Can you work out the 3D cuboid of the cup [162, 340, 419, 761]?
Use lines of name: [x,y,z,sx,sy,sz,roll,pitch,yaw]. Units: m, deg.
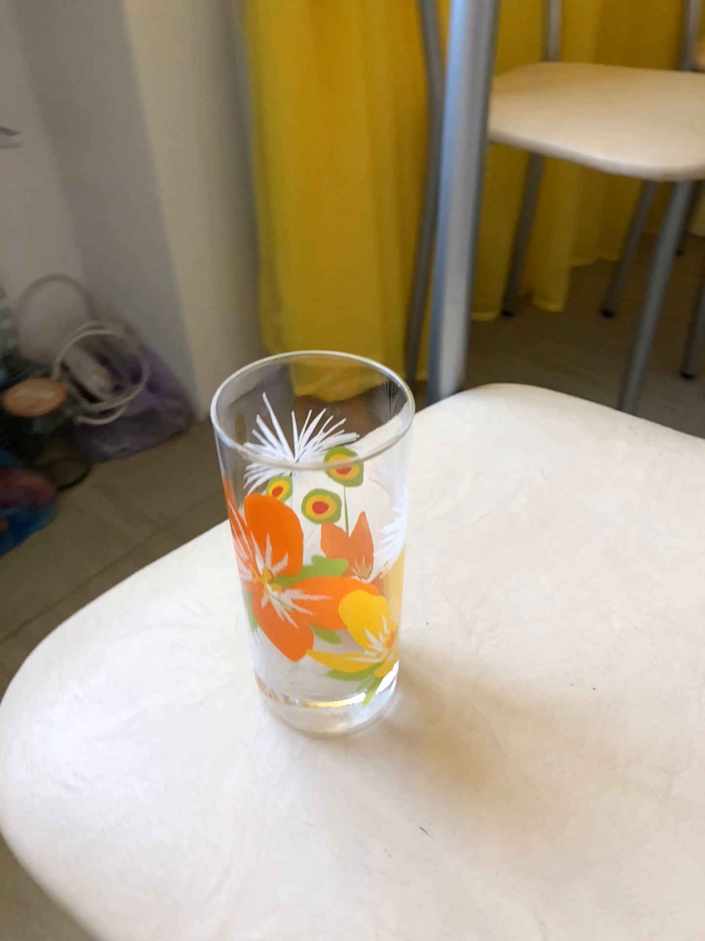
cup: [-0.014,0.031,0.276,0.061,0.133,0.064,-1,39,1]
